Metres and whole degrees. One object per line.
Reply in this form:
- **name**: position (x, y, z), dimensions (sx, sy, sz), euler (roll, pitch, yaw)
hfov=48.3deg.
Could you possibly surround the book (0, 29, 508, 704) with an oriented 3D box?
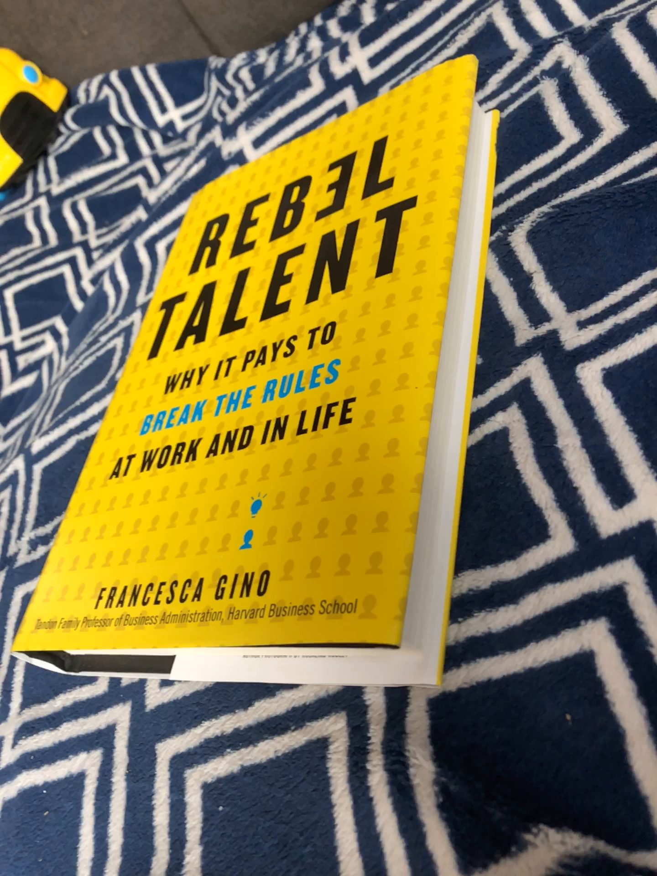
- **book**: position (-0.027, -0.031, 0.268), dimensions (0.167, 0.032, 0.237), euler (-12, 51, 34)
